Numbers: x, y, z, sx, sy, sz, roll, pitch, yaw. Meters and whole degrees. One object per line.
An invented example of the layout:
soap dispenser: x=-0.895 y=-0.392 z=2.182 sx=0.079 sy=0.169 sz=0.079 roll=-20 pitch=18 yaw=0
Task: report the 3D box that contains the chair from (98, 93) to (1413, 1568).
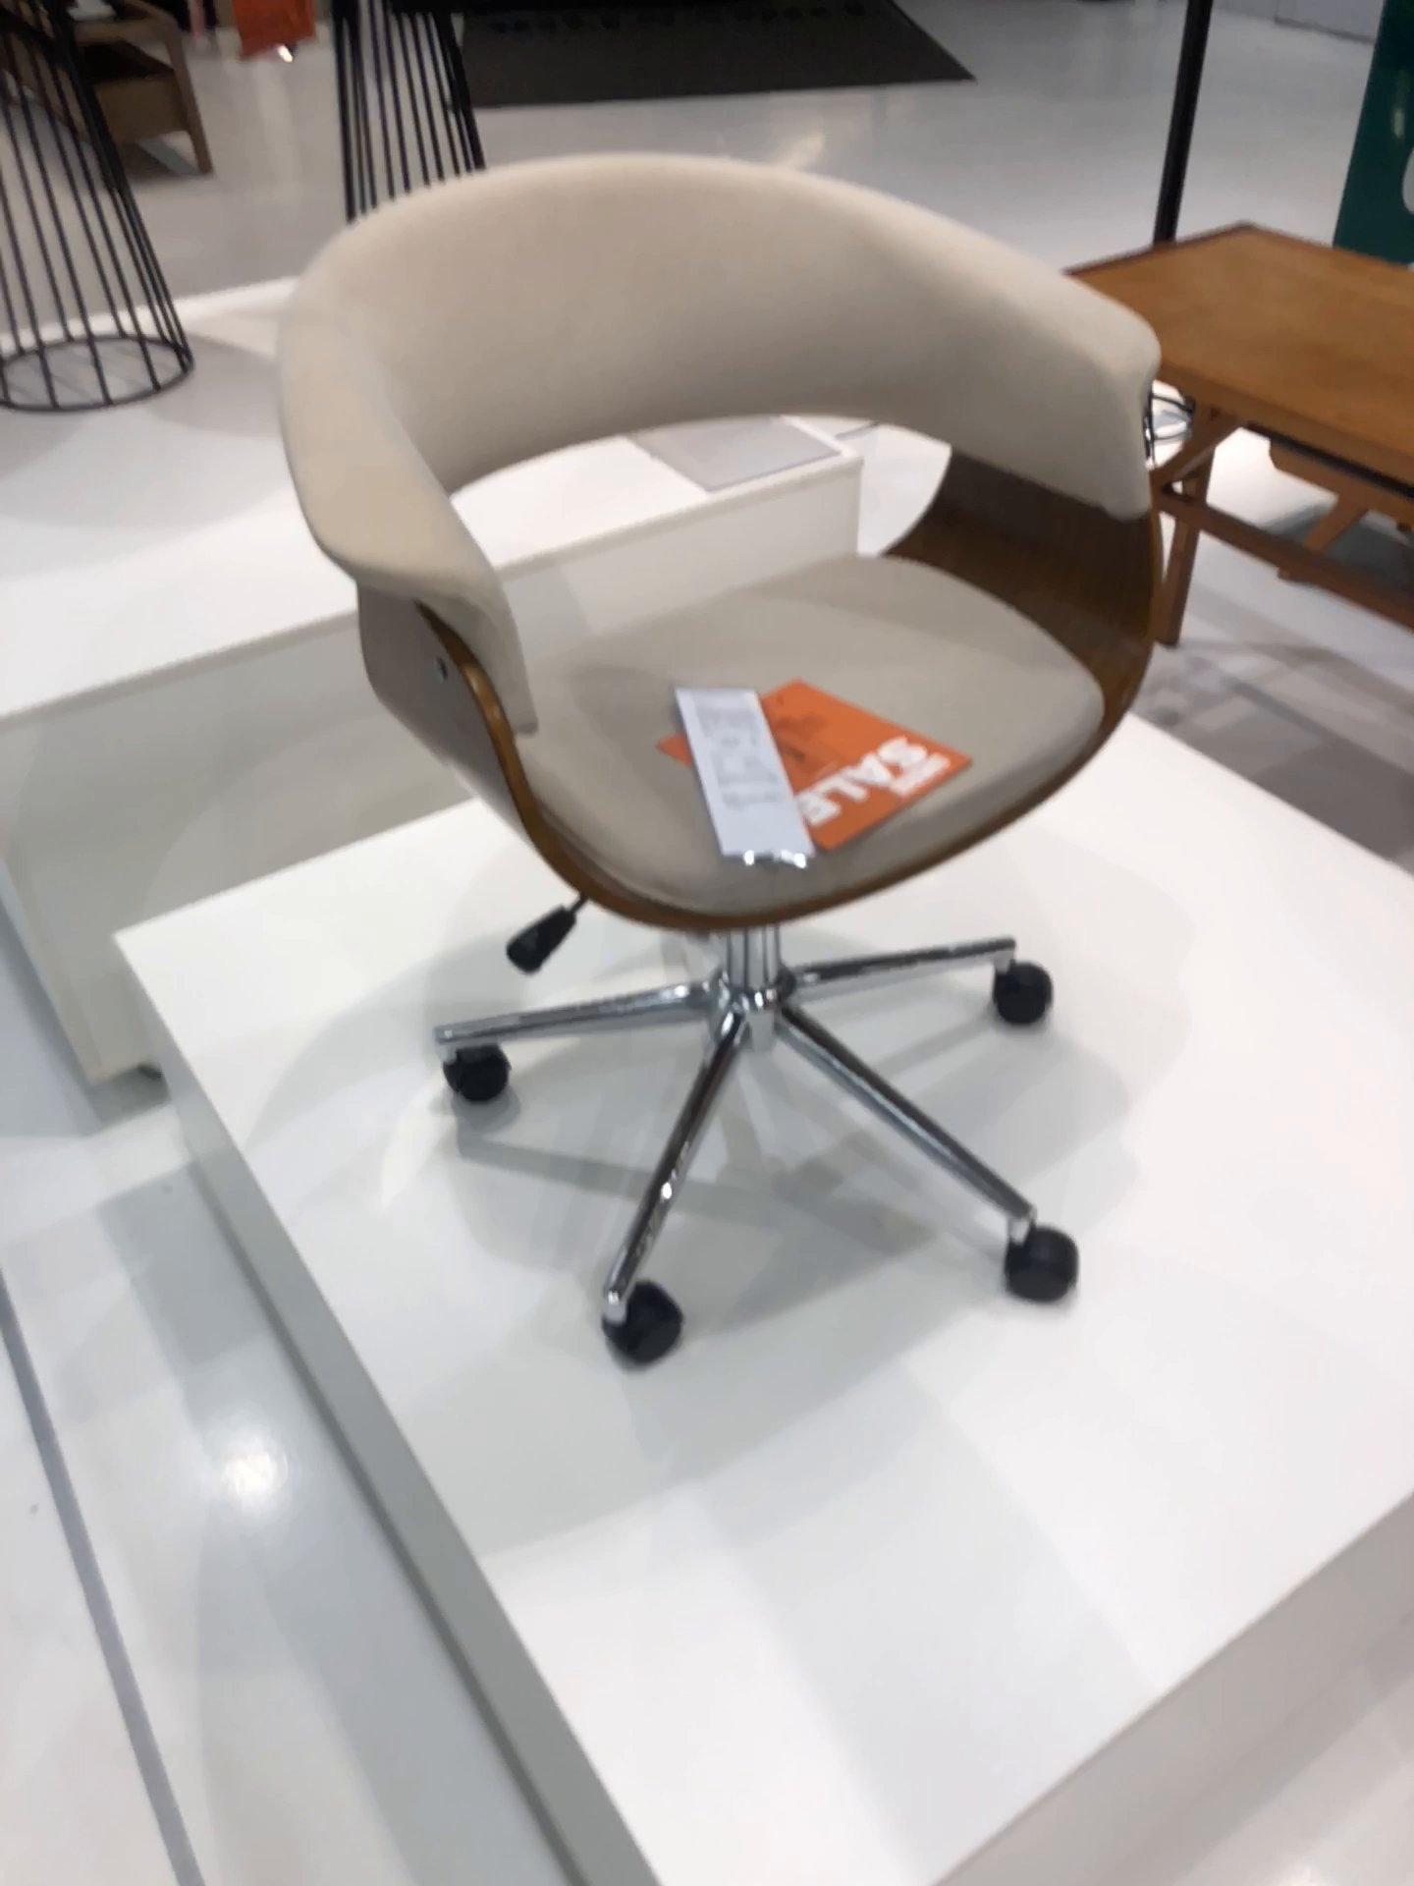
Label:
chair: x=0.052 y=-0.143 z=1.178 sx=0.632 sy=0.724 sz=0.674 roll=-25 pitch=45 yaw=-25
